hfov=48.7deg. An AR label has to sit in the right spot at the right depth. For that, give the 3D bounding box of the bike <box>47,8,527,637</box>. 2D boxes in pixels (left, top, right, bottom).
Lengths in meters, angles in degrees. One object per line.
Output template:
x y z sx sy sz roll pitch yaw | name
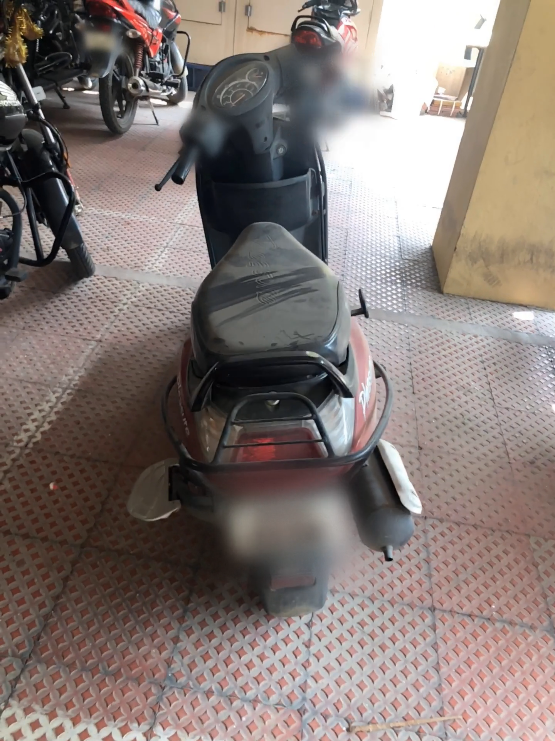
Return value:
-0.152 -0.312 1.722 0.599 1.030 1.660 1 35 -10 | bike
